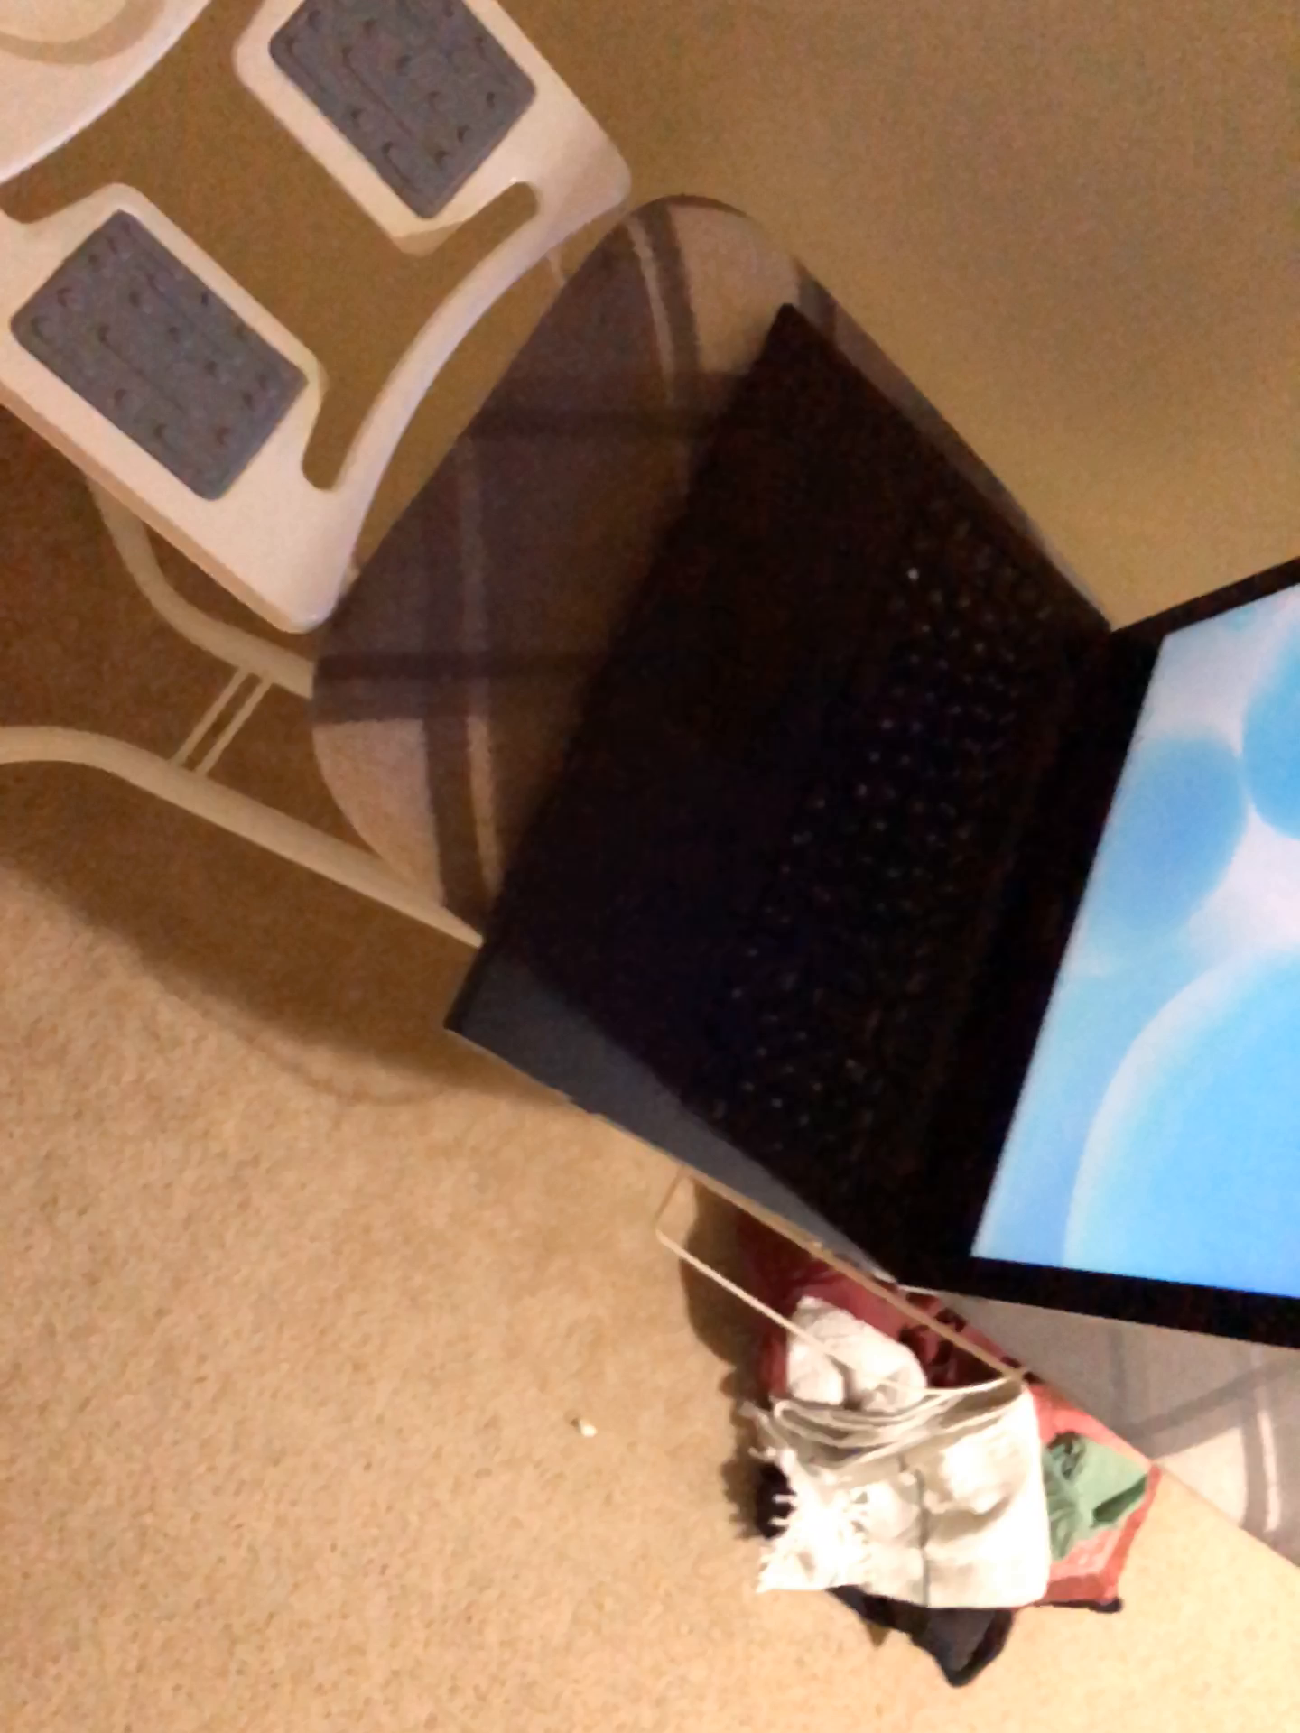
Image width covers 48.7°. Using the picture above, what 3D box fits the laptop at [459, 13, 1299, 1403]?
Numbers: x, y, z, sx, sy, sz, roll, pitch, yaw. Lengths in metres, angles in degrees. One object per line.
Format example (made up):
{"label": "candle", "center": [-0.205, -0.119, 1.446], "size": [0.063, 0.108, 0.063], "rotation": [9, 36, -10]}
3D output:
{"label": "laptop", "center": [0.153, -0.042, 0.538], "size": [0.248, 0.231, 0.352], "rotation": [34, 67, -27]}
